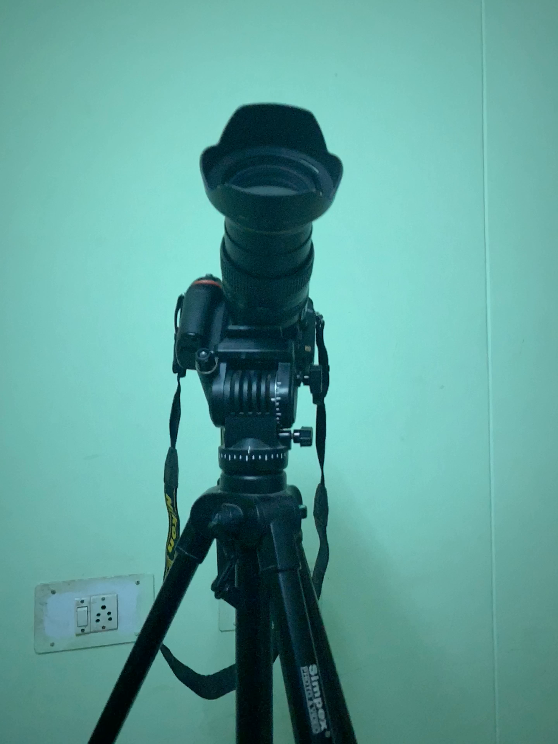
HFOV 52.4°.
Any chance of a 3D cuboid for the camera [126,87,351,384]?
[{"bbox_3d":[-0.029,-0.105,0.520,0.151,0.121,0.247,3,-31,-1],"label":"camera"}]
